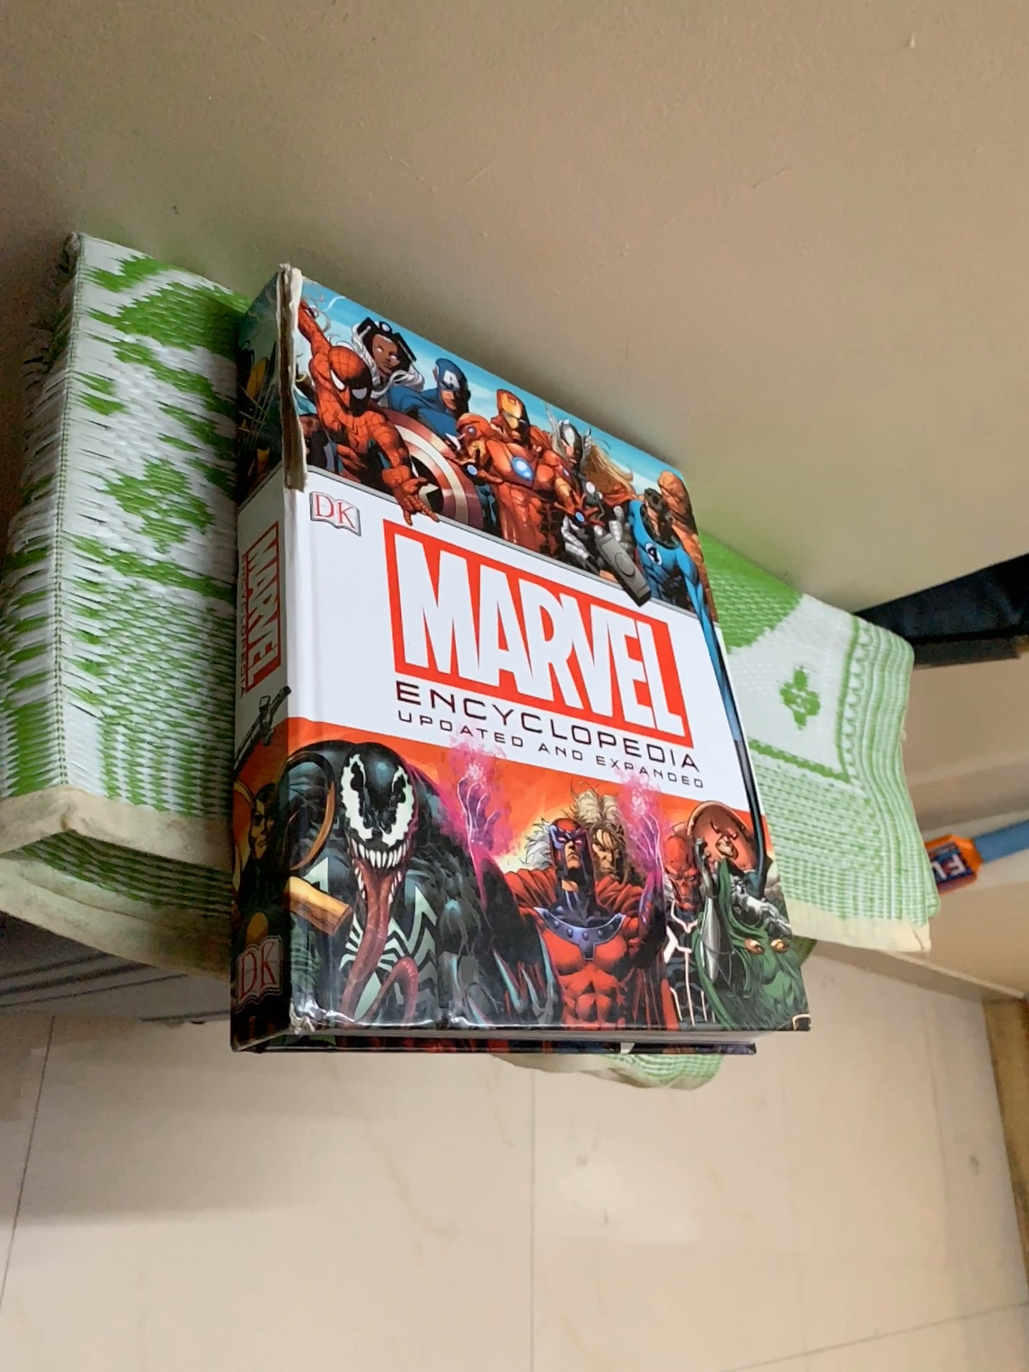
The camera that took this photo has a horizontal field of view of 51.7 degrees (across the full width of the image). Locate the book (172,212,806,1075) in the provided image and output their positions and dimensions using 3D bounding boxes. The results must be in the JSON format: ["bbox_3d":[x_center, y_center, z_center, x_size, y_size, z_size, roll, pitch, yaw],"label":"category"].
[{"bbox_3d":[-0.005,-0.010,0.447,0.261,0.040,0.321,16,56,-39],"label":"book"}]
